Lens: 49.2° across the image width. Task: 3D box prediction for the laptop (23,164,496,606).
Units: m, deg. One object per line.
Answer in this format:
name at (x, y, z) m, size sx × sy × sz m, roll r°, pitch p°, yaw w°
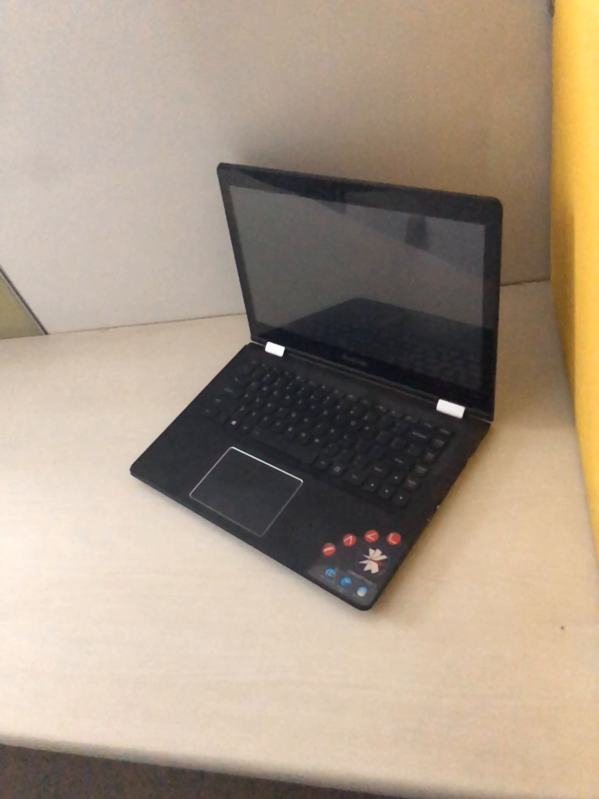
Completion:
laptop at (-0.021, -0.038, 0.627) m, size 0.312 × 0.225 × 0.264 m, roll 22°, pitch 58°, yaw 35°
